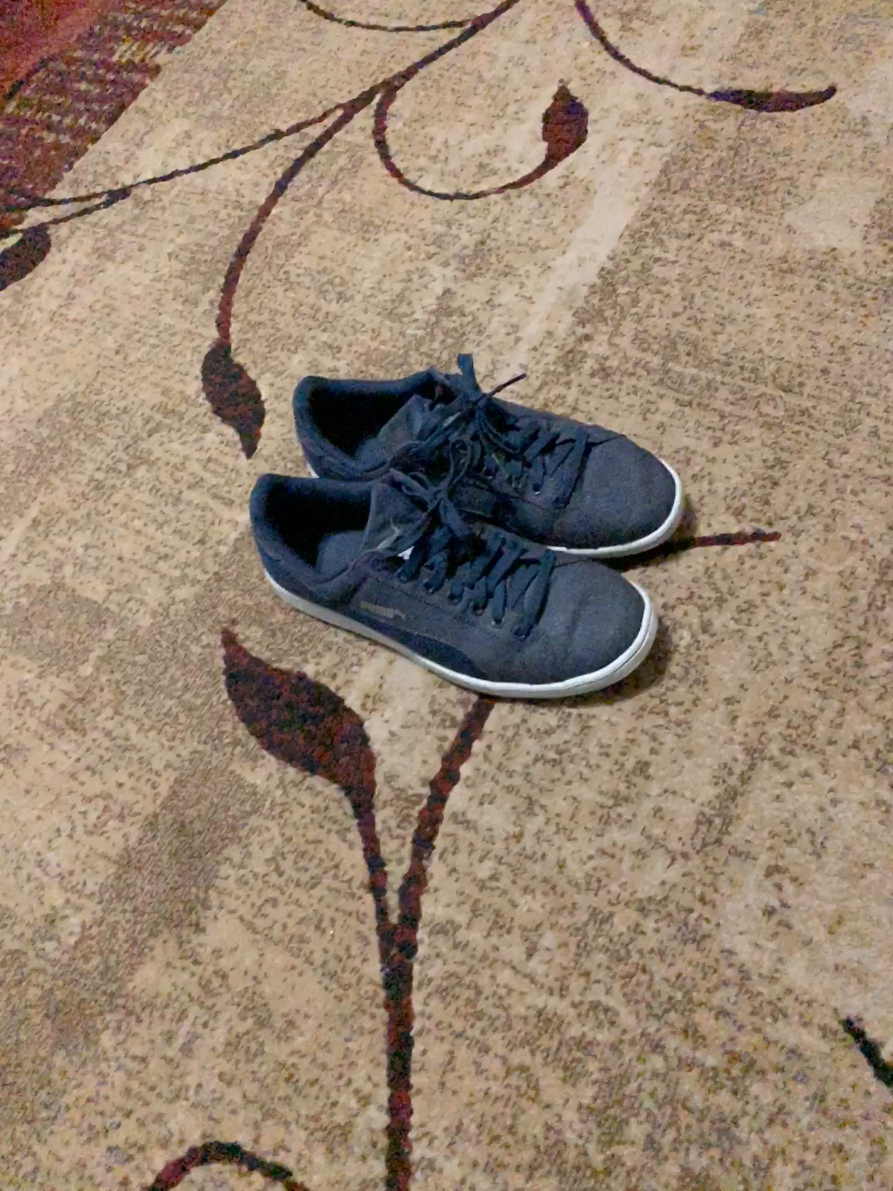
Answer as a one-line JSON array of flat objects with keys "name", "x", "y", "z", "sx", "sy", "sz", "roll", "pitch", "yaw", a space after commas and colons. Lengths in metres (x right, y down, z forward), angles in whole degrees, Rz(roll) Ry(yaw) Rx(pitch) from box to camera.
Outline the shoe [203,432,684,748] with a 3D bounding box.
[{"name": "shoe", "x": 0.000, "y": -0.008, "z": 0.587, "sx": 0.275, "sy": 0.090, "sz": 0.106, "roll": 16, "pitch": 67, "yaw": 19}]

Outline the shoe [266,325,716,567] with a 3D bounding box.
[{"name": "shoe", "x": 0.027, "y": -0.105, "z": 0.609, "sx": 0.275, "sy": 0.050, "sz": 0.100, "roll": 15, "pitch": 67, "yaw": 19}]
